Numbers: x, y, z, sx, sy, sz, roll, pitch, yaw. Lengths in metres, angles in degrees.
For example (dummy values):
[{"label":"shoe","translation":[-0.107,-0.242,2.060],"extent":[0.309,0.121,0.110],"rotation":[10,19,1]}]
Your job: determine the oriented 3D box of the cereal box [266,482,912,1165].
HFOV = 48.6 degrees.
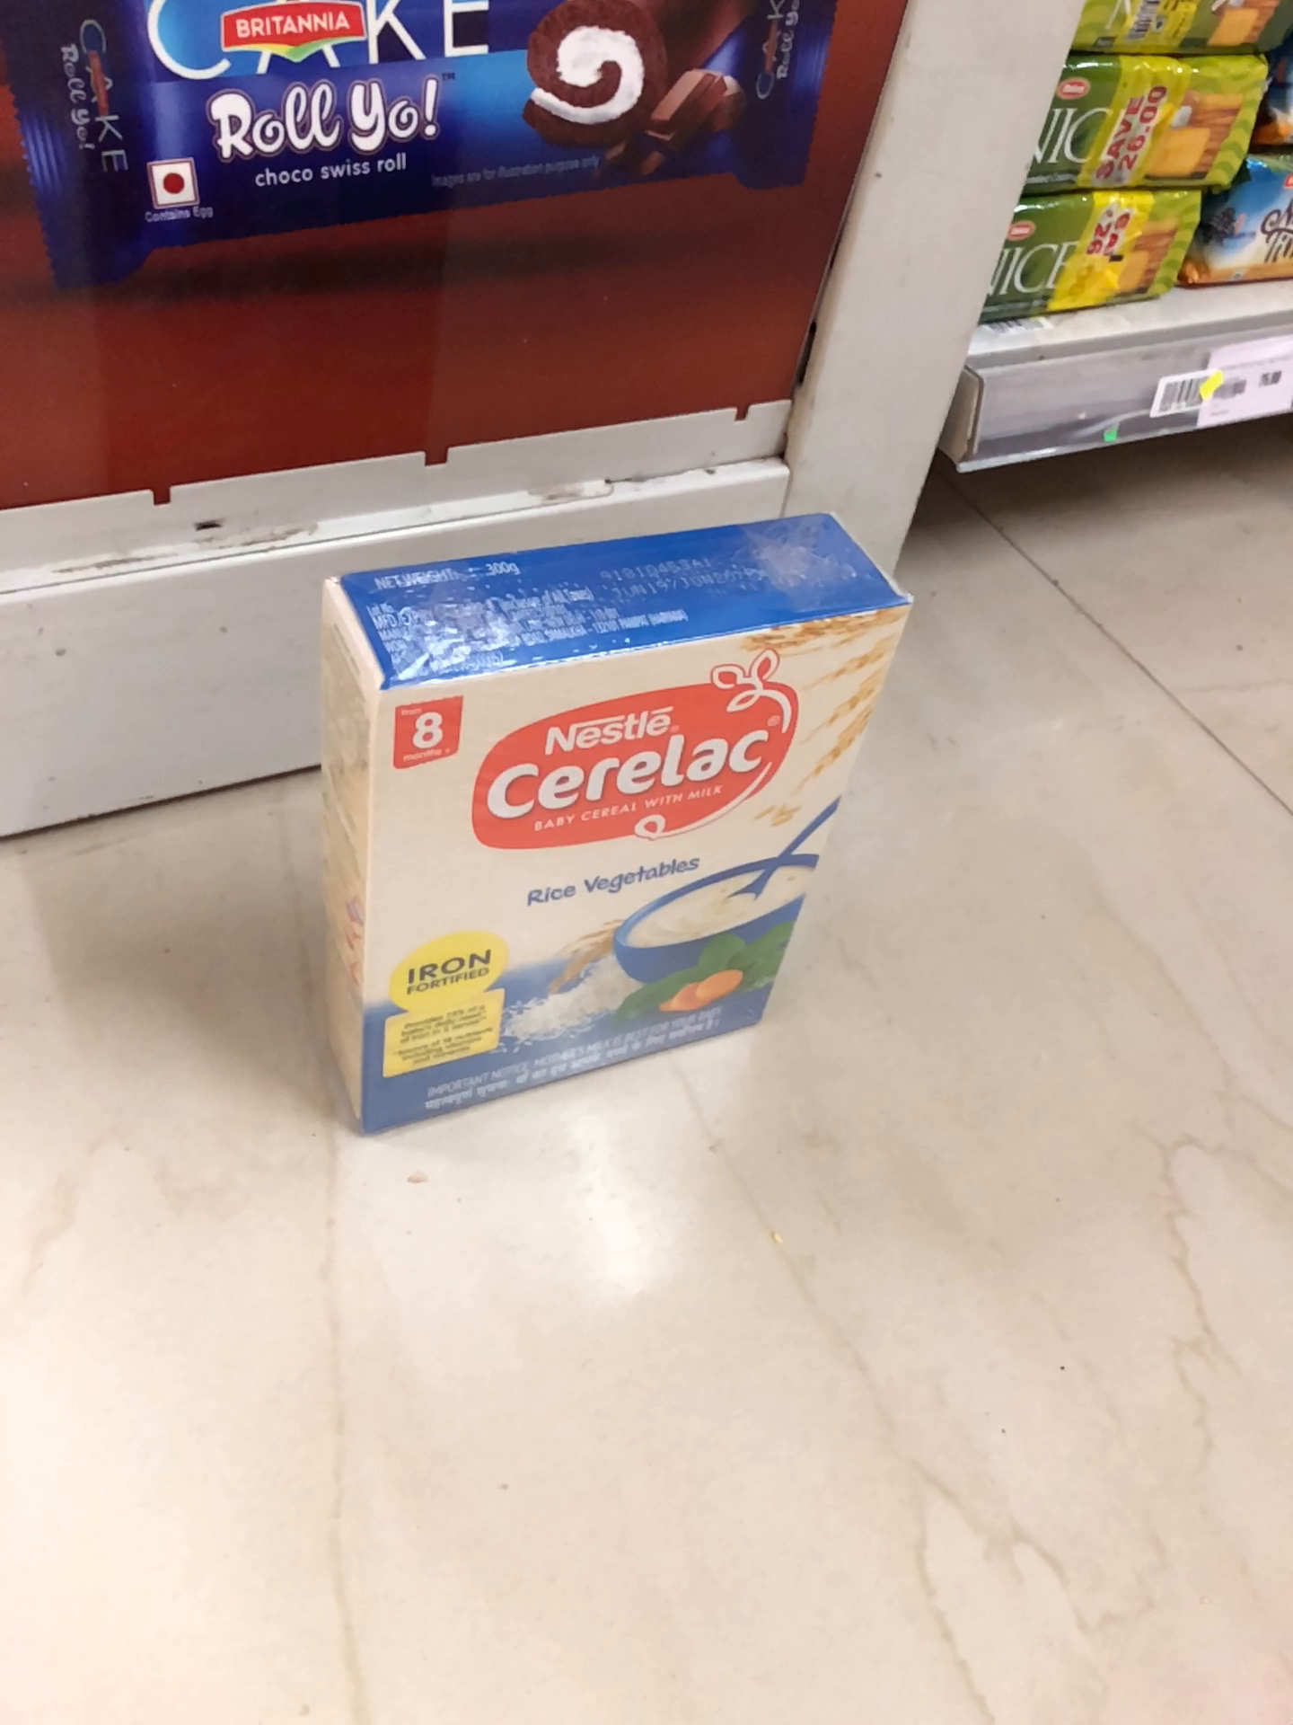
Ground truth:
[{"label":"cereal box","translation":[-0.027,-0.007,0.447],"extent":[0.161,0.199,0.060],"rotation":[-14,52,-24]}]
